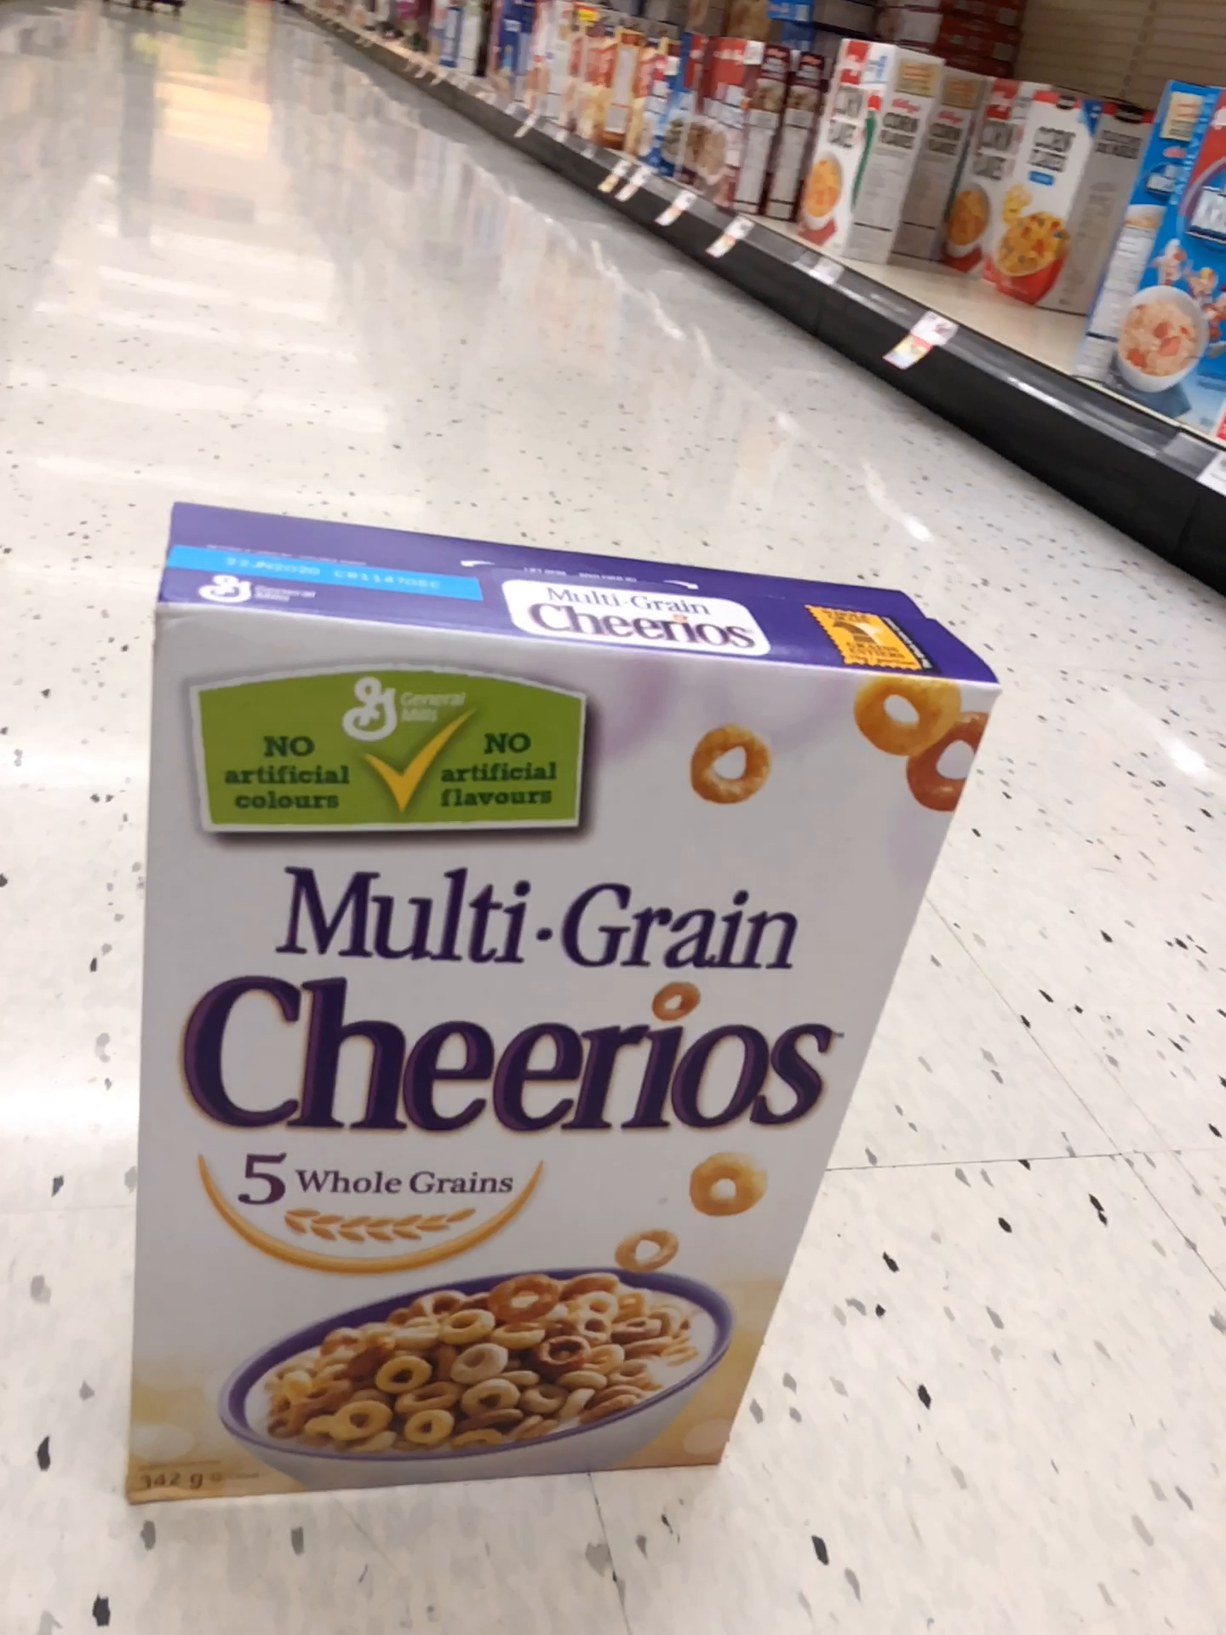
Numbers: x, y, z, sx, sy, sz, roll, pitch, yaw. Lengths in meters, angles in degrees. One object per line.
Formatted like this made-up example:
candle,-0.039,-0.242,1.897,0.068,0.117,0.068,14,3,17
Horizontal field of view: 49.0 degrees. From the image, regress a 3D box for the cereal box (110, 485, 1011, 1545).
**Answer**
cereal box,-0.036,0.077,0.383,0.190,0.308,0.060,4,30,-16
